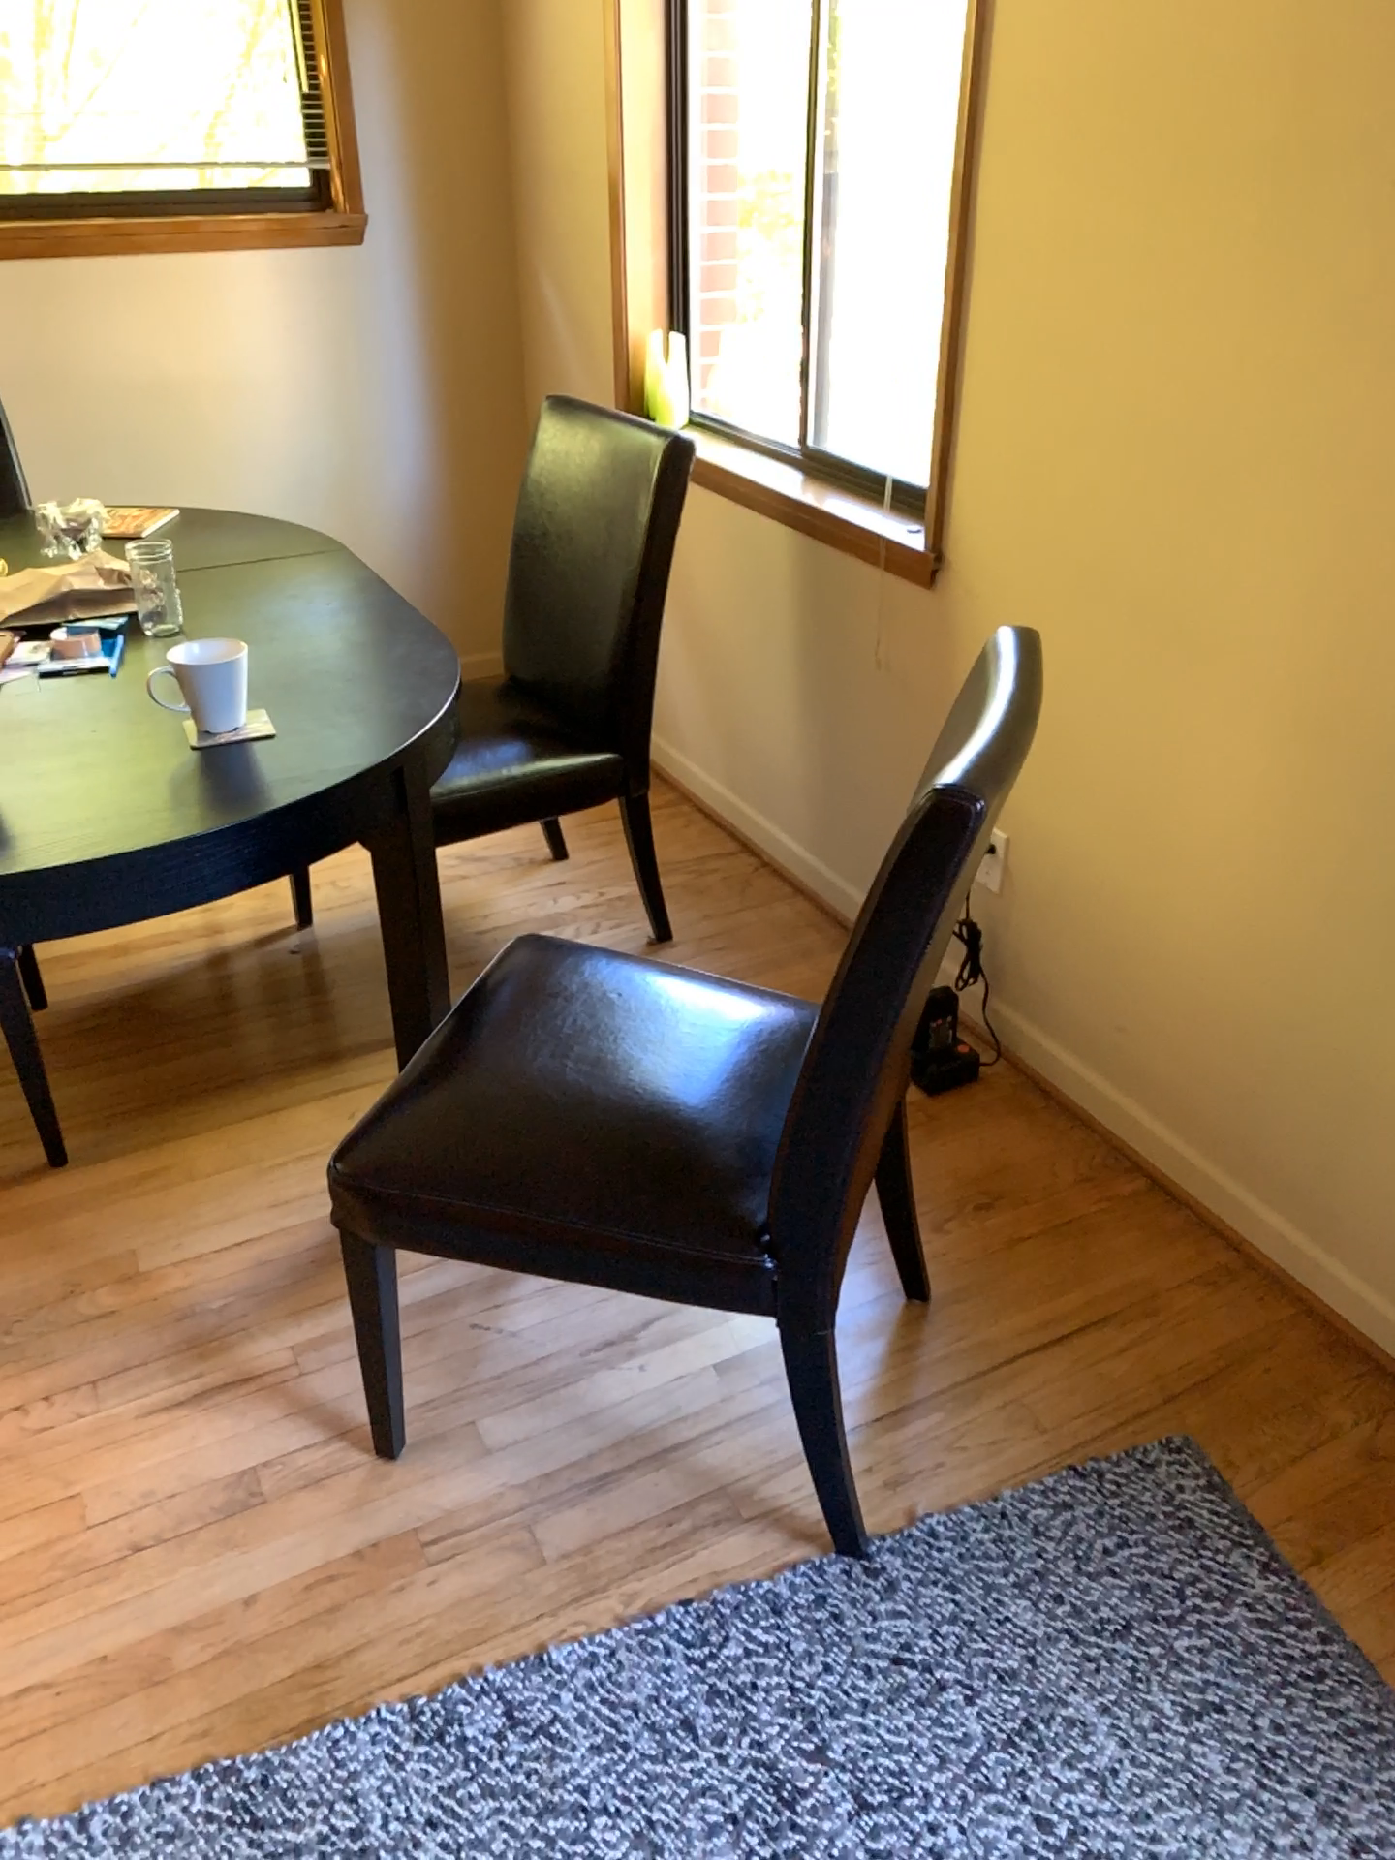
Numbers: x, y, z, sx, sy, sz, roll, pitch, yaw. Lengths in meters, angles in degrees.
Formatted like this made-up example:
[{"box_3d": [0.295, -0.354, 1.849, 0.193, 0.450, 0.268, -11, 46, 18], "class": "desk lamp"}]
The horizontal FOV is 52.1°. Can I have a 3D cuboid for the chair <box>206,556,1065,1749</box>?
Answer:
[{"box_3d": [-0.002, 0.223, 1.618, 0.651, 1.083, 0.623, 8, 31, 14], "class": "chair"}]
